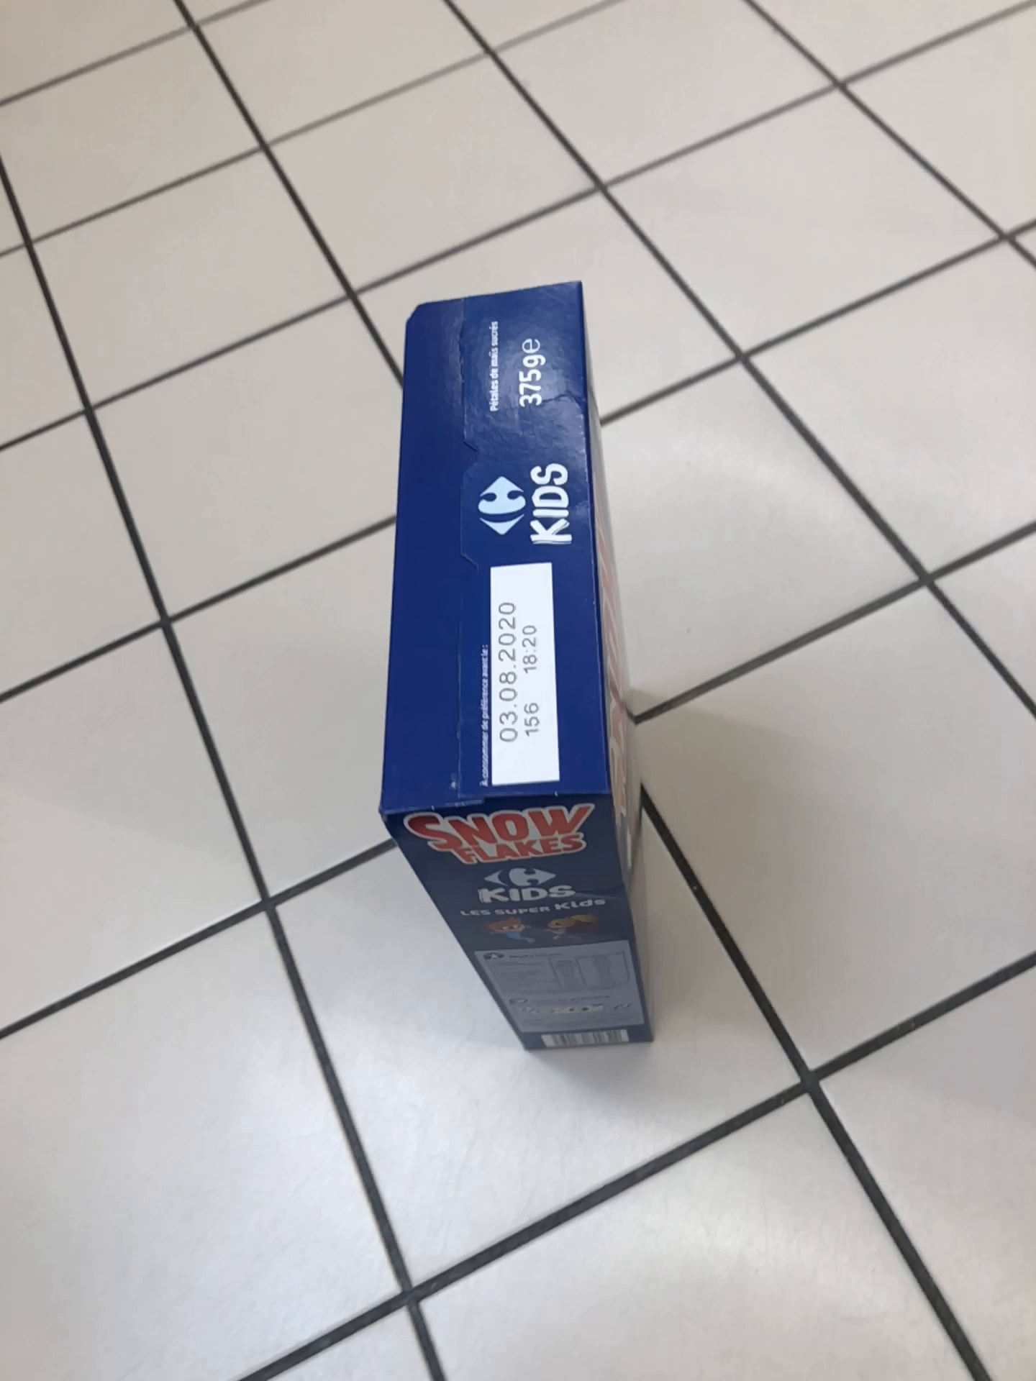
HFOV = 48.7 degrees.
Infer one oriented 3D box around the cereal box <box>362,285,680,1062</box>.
[{"bbox_3d":[0.016,0.020,0.477,0.080,0.289,0.201,-5,60,6],"label":"cereal box"}]
